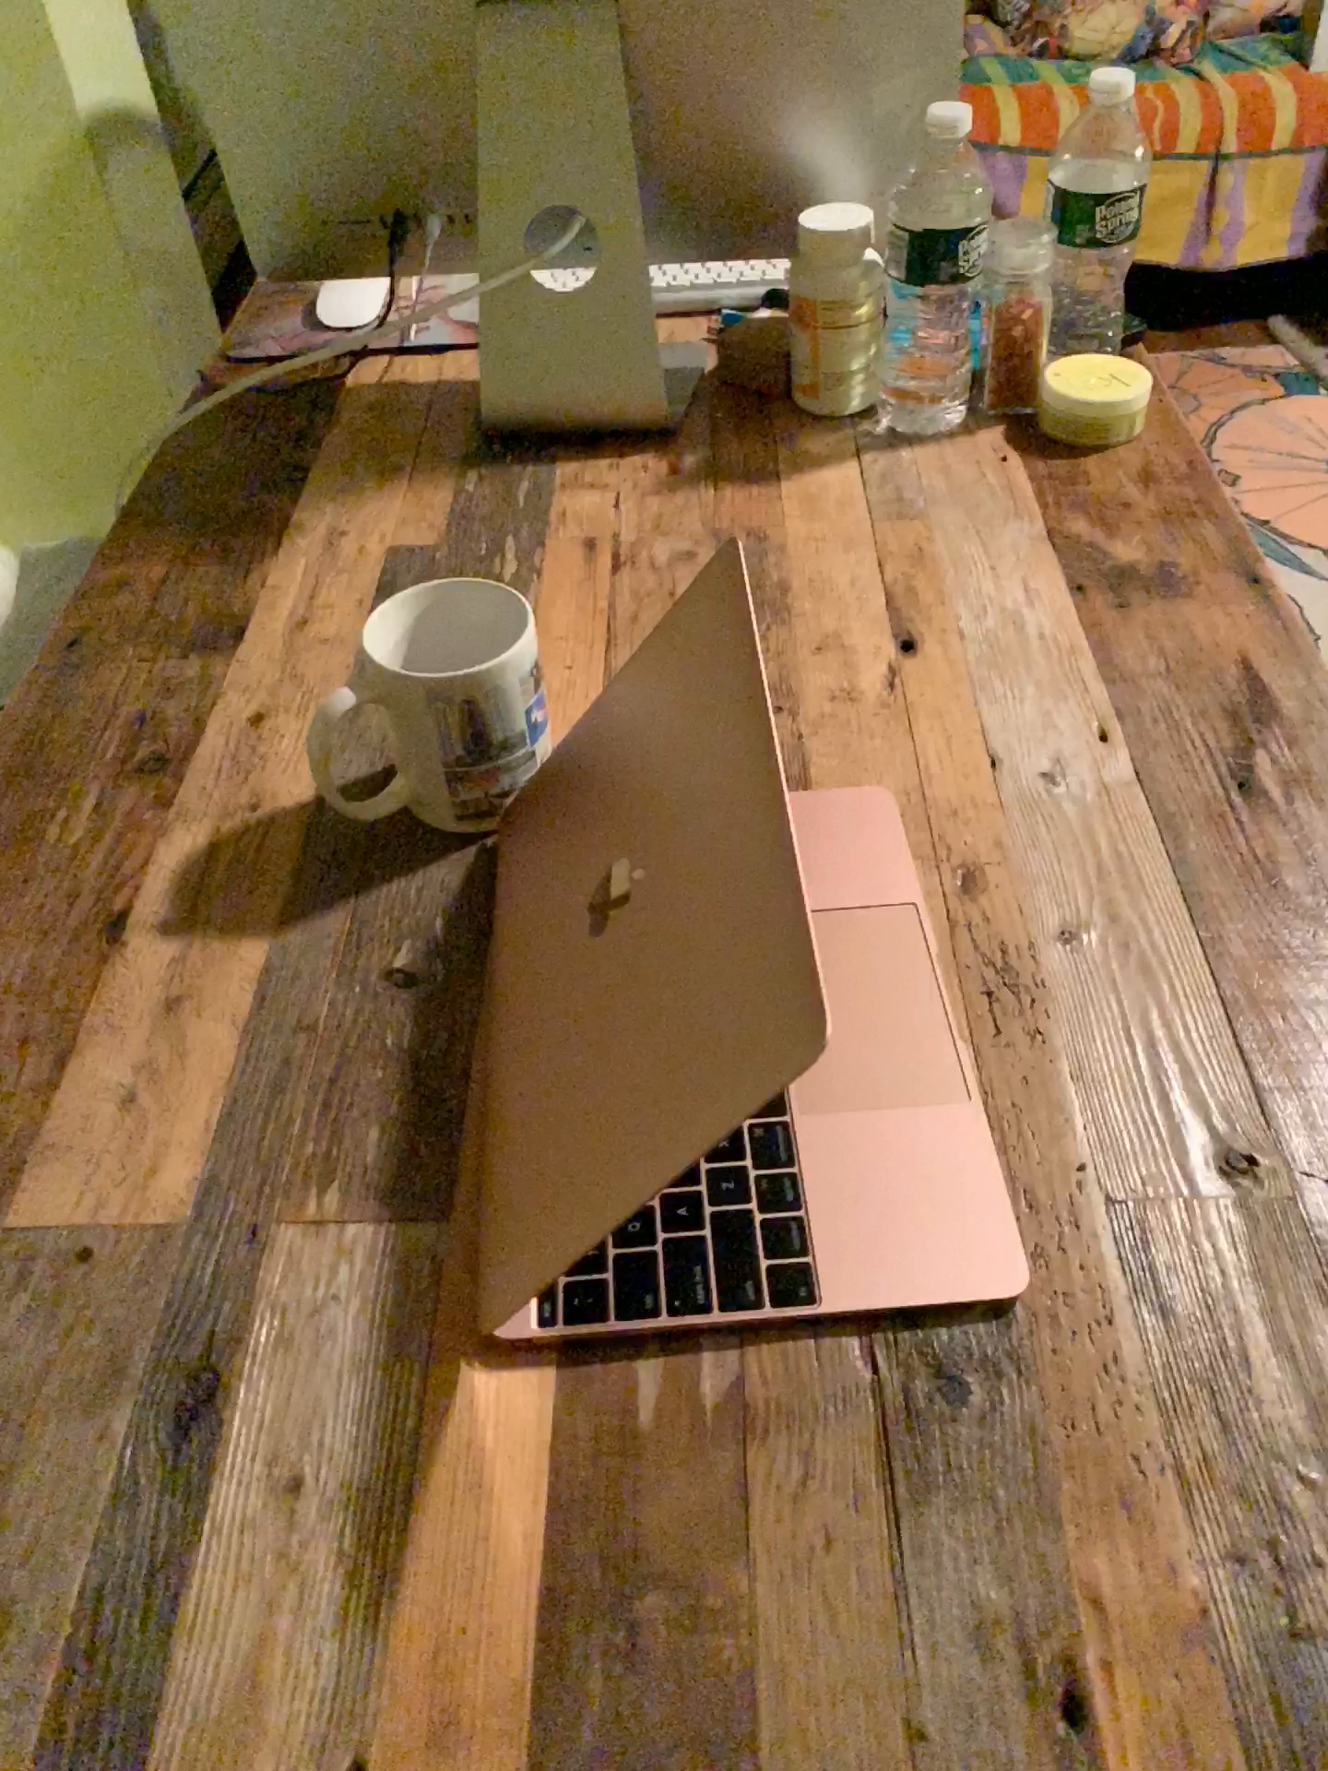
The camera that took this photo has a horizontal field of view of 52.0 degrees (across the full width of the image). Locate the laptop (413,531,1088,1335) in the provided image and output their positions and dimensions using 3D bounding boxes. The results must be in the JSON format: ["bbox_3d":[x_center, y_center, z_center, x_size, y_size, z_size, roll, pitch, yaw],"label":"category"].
[{"bbox_3d":[0.023,0.003,0.538,0.193,0.145,0.280,-4,44,-1],"label":"laptop"}]
